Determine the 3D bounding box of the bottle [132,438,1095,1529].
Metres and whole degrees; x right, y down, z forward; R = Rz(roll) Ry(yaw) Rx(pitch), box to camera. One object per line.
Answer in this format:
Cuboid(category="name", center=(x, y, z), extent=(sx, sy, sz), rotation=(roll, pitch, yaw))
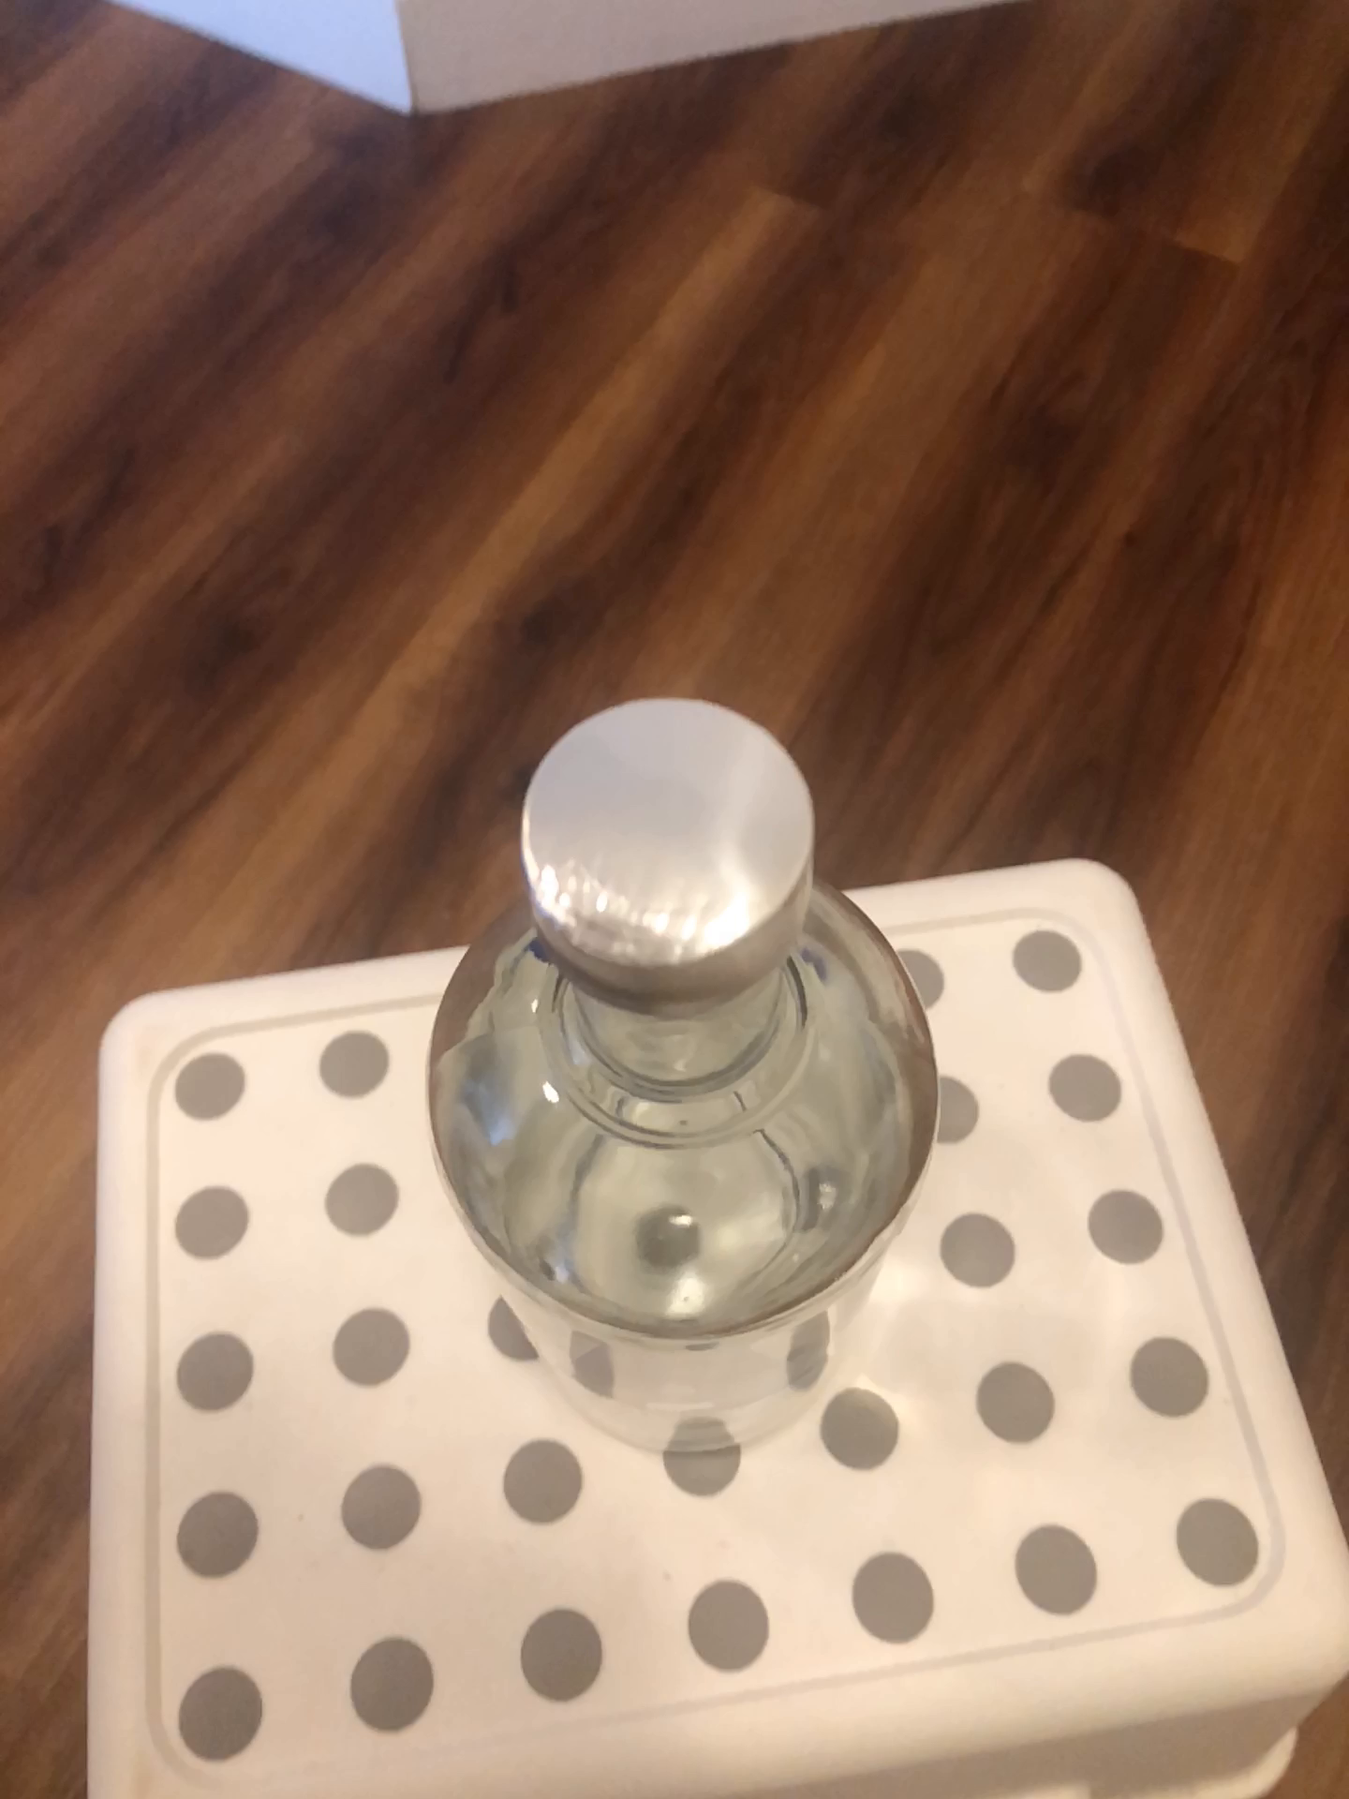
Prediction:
Cuboid(category="bottle", center=(-0.001, 0.051, 0.297), extent=(0.090, 0.269, 0.100), rotation=(13, 64, 7))
